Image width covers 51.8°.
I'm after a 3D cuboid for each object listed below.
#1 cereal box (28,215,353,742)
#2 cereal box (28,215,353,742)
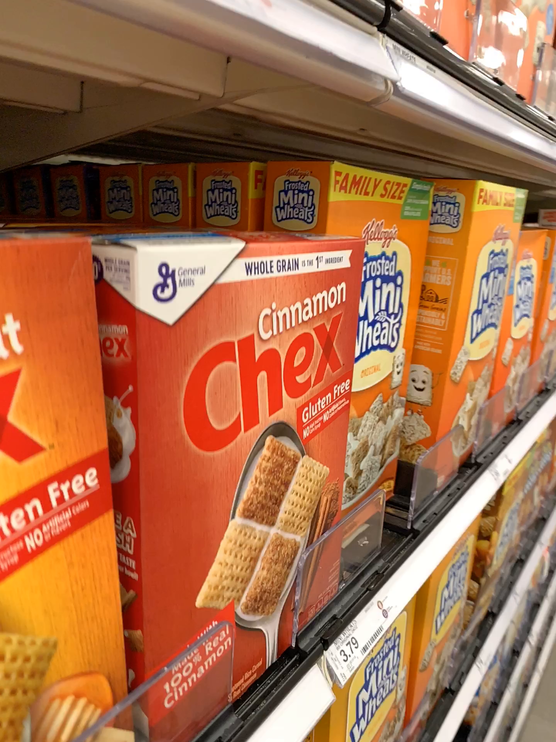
[{"bbox_3d":[-0.038,0.057,0.365,0.060,0.299,0.200,13,19,34],"label":"cereal box"},{"bbox_3d":[-0.038,0.057,0.365,0.060,0.299,0.200,13,19,34],"label":"cereal box"}]
